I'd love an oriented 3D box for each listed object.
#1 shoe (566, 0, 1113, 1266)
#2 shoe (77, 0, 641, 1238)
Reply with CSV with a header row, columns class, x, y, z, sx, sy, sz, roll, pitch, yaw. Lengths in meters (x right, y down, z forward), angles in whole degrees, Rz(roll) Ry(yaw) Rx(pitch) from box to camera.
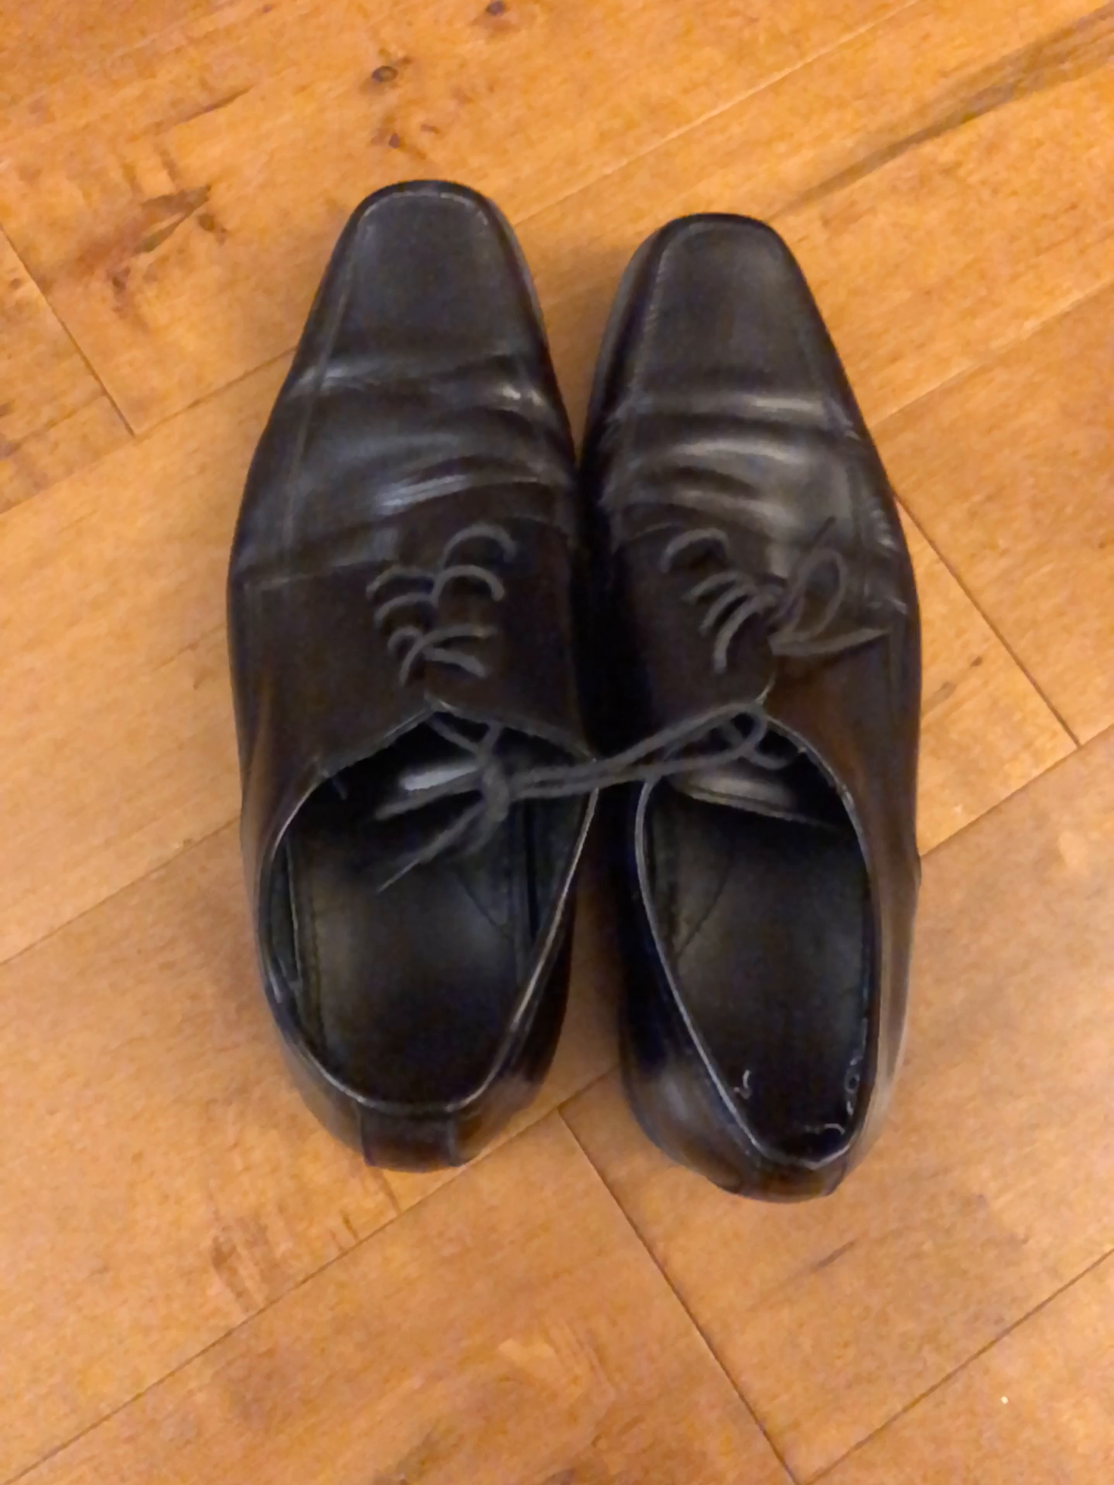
class,x,y,z,sx,sy,sz,roll,pitch,yaw
shoe,0.061,-0.037,0.338,0.110,0.130,0.310,0,78,-2
shoe,-0.041,-0.043,0.337,0.110,0.130,0.310,0,78,-2
